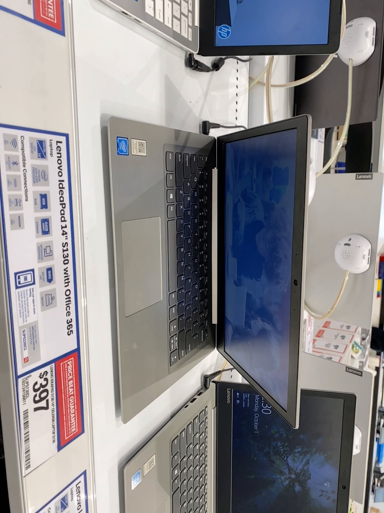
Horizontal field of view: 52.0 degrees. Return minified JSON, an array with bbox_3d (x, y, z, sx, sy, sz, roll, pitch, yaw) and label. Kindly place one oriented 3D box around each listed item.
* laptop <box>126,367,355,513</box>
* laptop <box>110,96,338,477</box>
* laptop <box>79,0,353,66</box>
[{"bbox_3d":[0.093,0.392,0.571,0.311,0.215,0.329,-17,110,-60],"label":"laptop"},{"bbox_3d":[0.053,0.015,0.470,0.231,0.170,0.330,-19,112,-58],"label":"laptop"},{"bbox_3d":[0.053,-0.403,0.412,0.286,0.155,0.304,-16,108,-58],"label":"laptop"}]
